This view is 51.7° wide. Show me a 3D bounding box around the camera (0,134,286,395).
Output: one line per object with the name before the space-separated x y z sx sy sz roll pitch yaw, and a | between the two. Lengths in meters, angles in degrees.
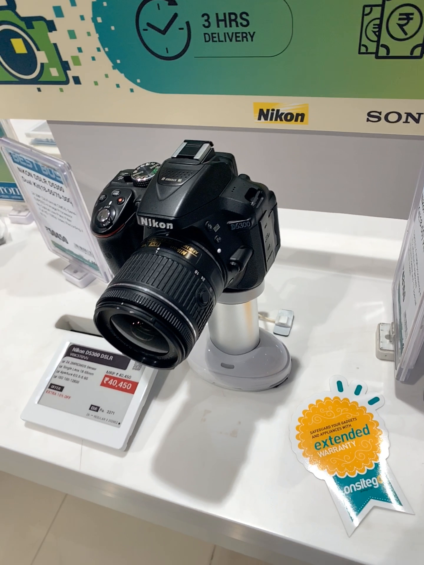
camera | -0.026 -0.019 0.265 0.118 0.082 0.123 9 47 18
